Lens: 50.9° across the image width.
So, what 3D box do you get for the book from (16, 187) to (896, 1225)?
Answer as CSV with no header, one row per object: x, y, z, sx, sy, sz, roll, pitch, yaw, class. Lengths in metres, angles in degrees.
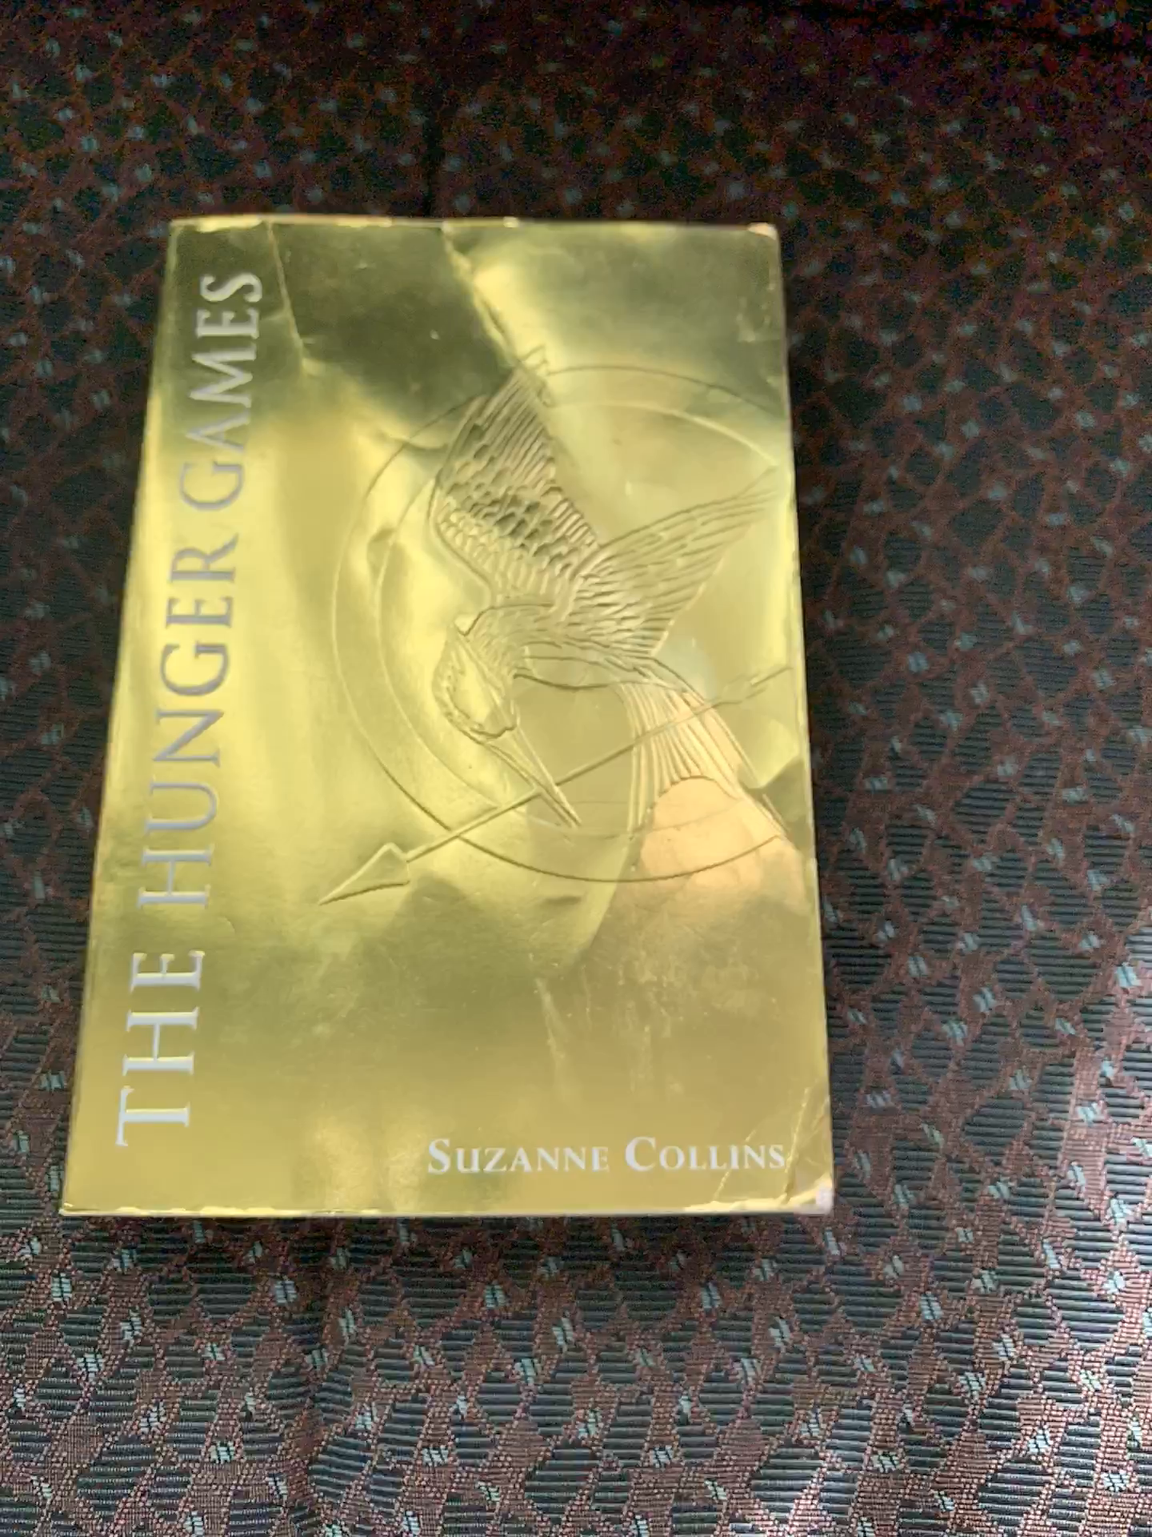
-0.020,-0.018,0.243,0.142,0.037,0.201,1,73,-4,book
